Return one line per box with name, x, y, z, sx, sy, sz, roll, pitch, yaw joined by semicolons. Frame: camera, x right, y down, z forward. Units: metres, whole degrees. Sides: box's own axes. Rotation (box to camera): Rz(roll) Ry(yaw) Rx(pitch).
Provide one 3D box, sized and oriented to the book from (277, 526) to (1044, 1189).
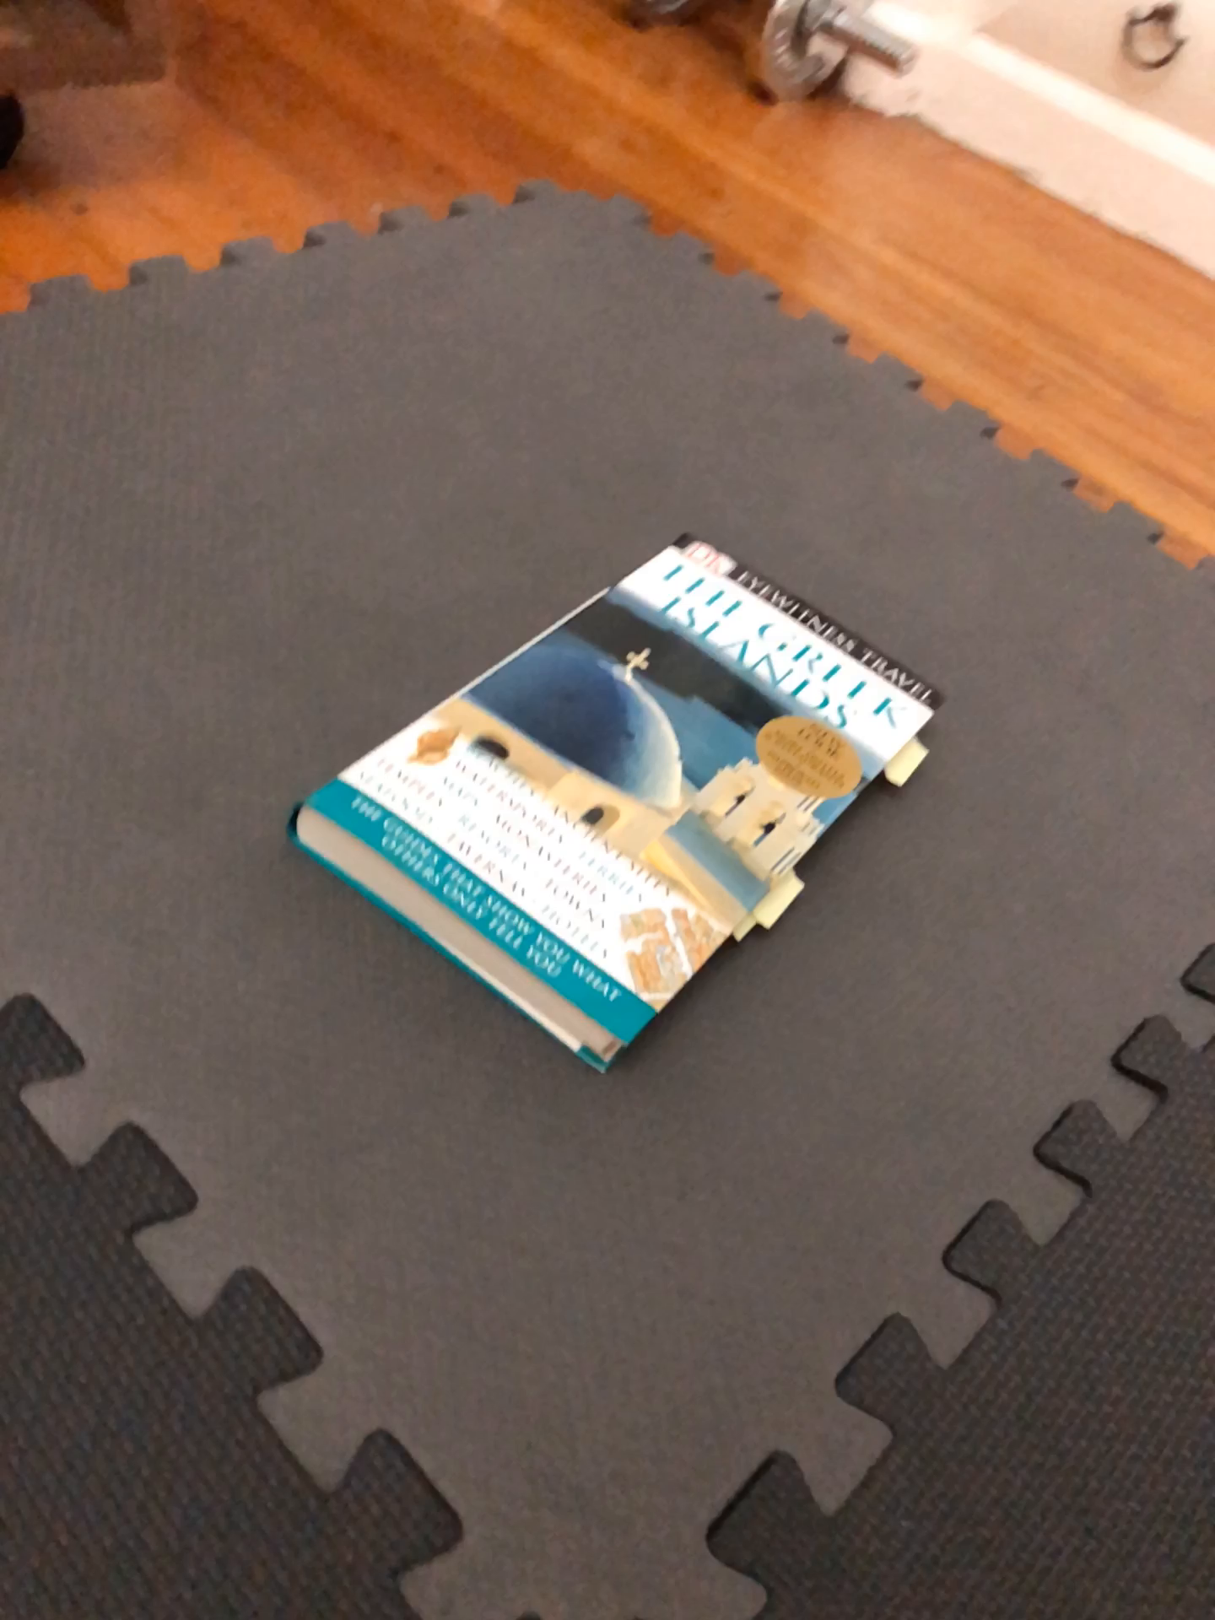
book;0.030;-0.006;0.471;0.160;0.030;0.241;35;48;18
